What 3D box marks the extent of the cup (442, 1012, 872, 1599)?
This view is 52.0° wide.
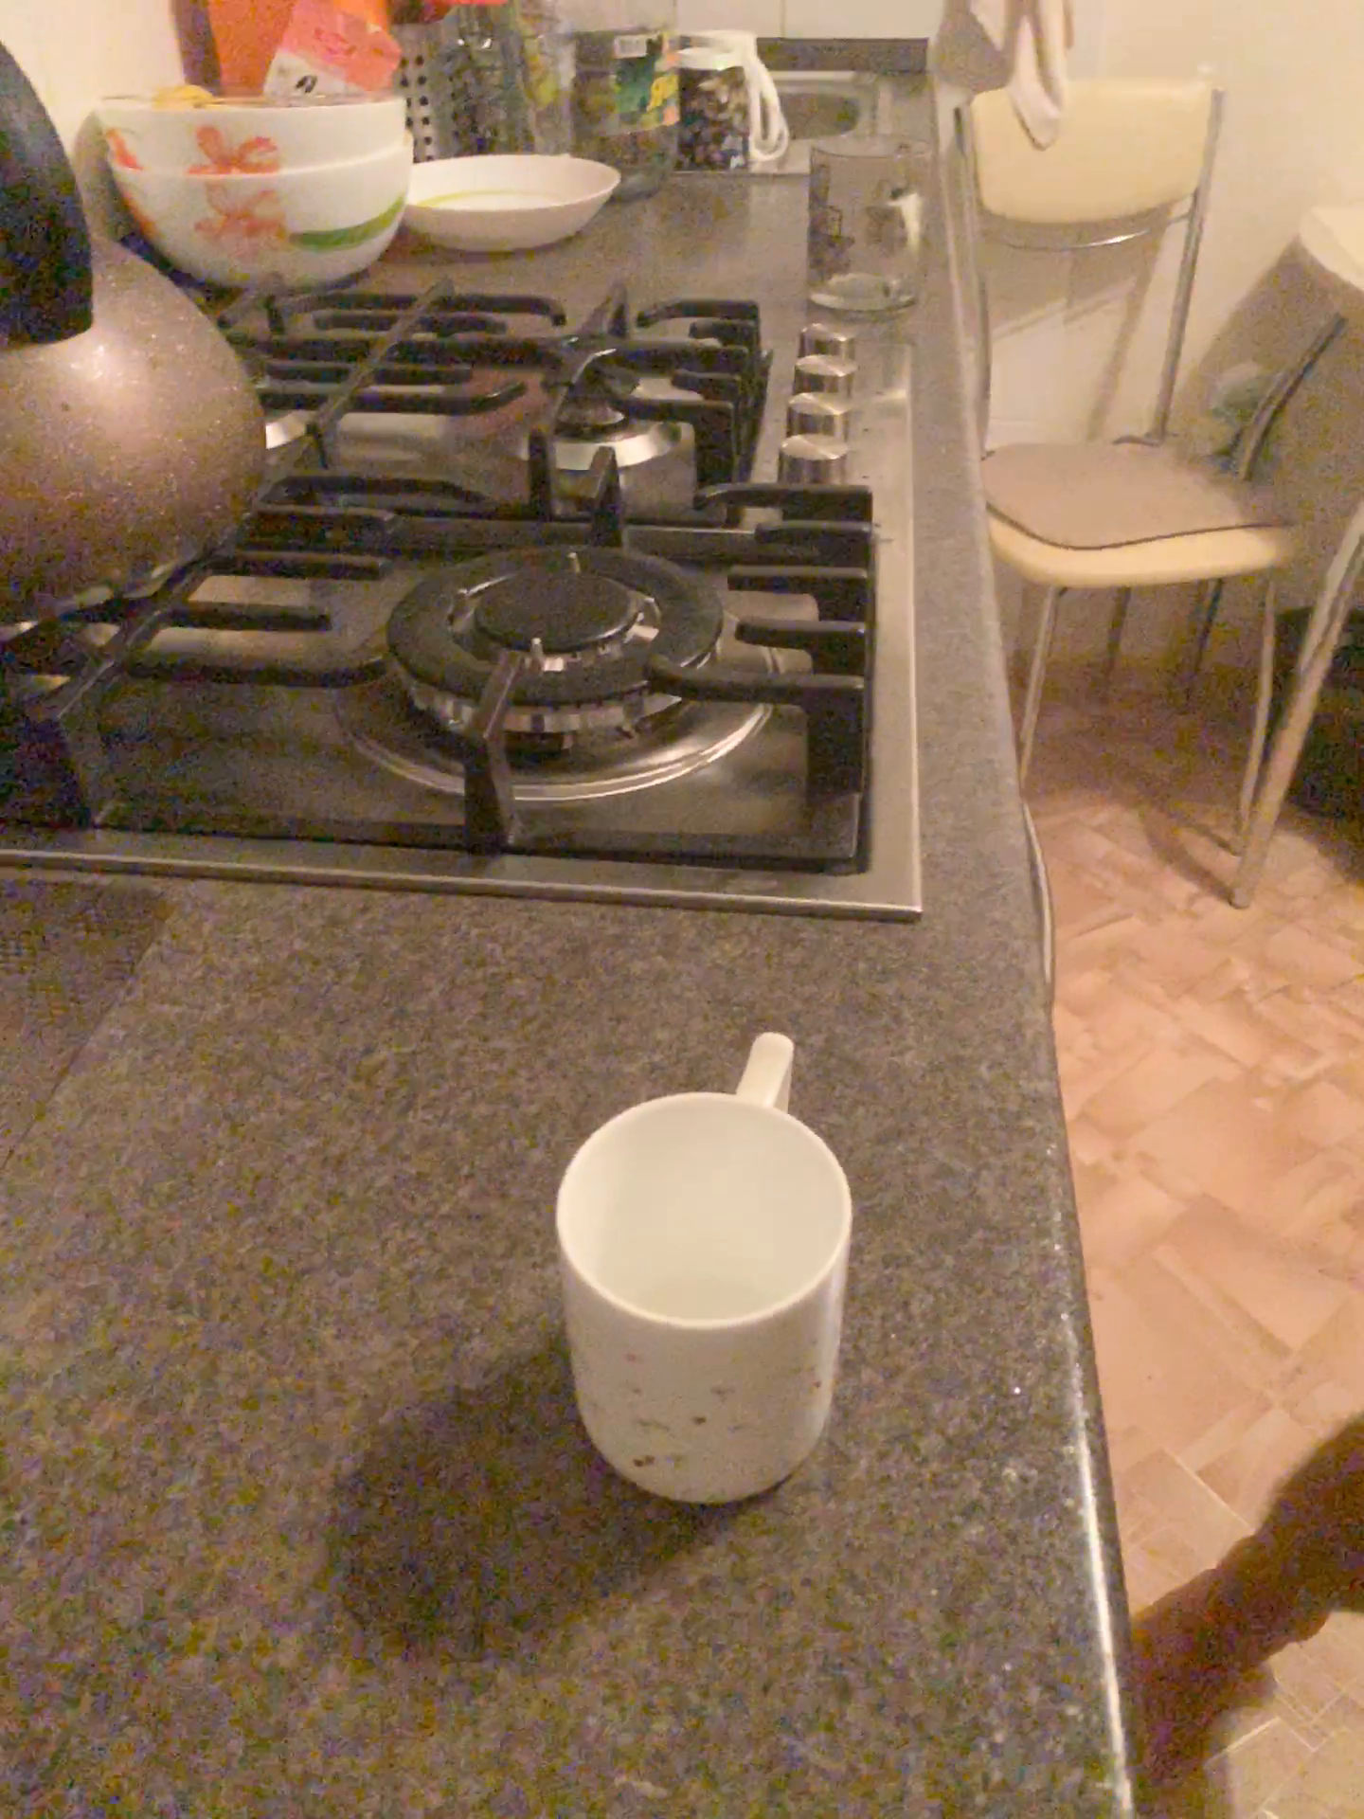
[{"bbox_3d":[-0.001,0.079,0.293,0.060,0.069,0.081,11,39,15],"label":"cup"}]
